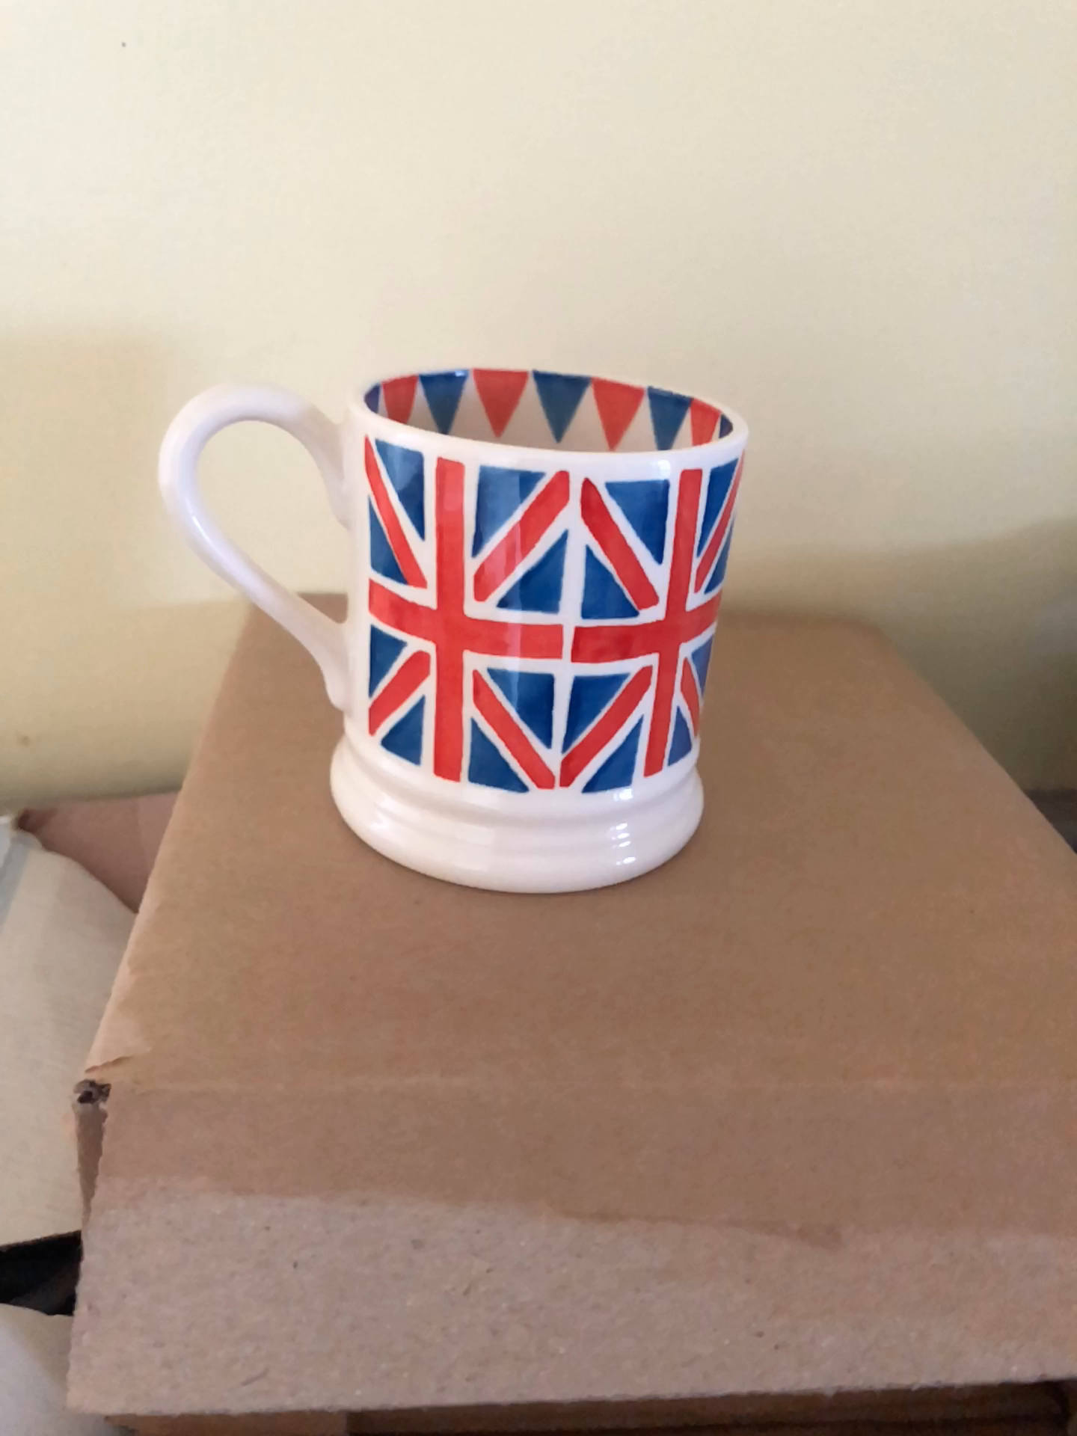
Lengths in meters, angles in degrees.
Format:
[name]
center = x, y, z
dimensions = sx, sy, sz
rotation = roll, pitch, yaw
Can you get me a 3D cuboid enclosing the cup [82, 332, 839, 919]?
[cup]
center = -0.017, -0.026, 0.274
dimensions = 0.130, 0.099, 0.100
rotation = 0, 27, -4
